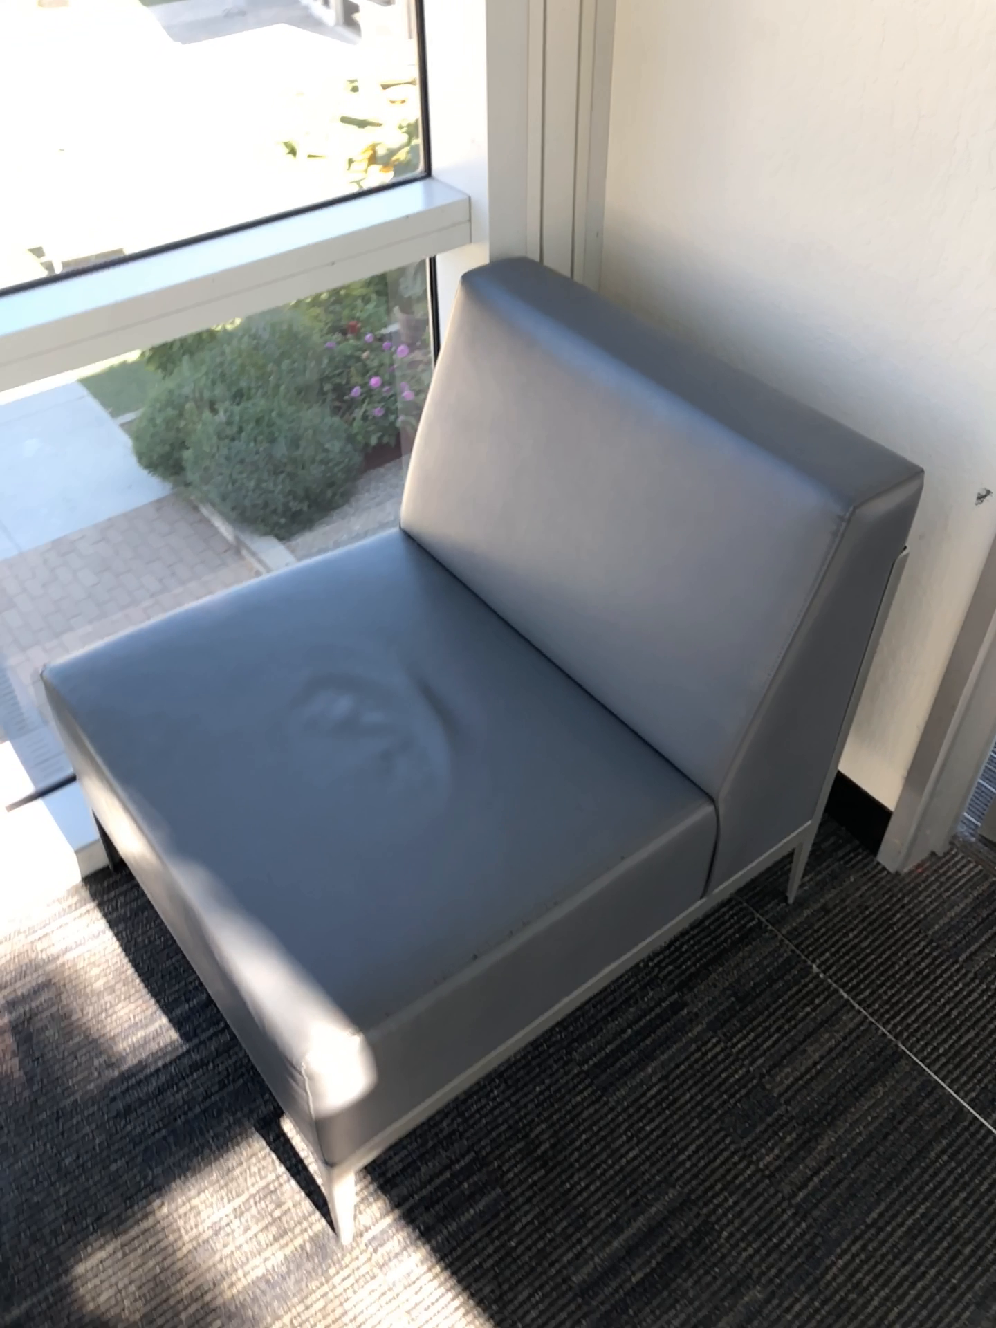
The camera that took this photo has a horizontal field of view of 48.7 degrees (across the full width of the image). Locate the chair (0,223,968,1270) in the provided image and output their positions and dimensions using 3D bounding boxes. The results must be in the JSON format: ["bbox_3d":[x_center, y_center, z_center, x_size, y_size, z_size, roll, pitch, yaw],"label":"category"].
[{"bbox_3d":[-0.089,0.028,1.334,0.751,0.707,0.773,-27,49,-25],"label":"chair"}]
